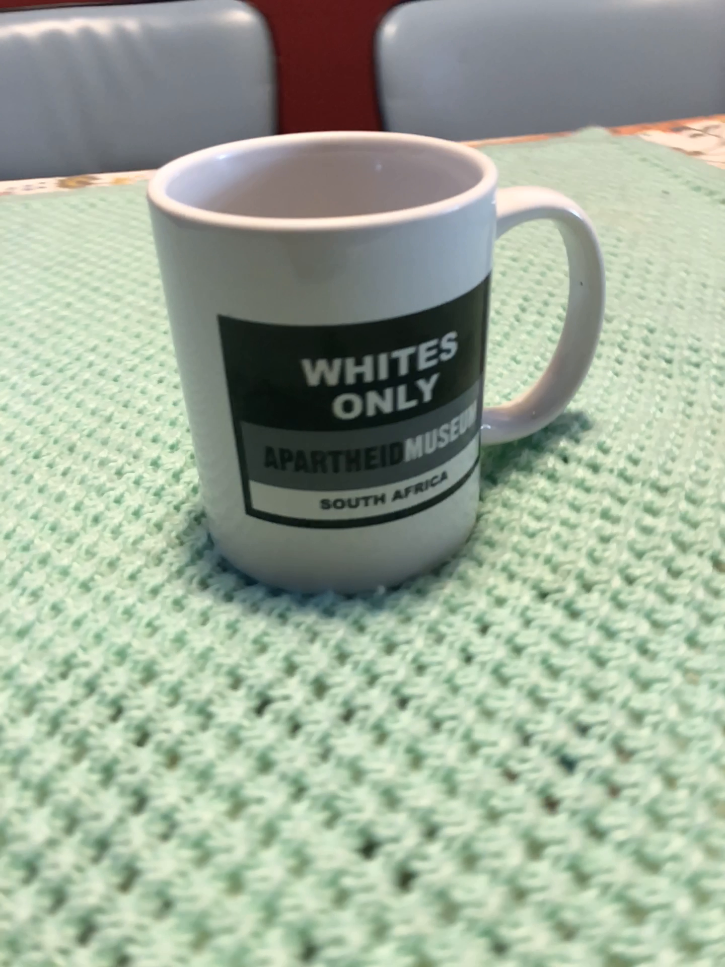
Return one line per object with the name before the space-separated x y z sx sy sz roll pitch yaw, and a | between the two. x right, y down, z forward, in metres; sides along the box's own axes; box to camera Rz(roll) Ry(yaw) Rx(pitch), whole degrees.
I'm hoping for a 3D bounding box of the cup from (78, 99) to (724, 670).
cup | 0.015 -0.038 0.203 0.140 0.079 0.101 -15 37 -17
